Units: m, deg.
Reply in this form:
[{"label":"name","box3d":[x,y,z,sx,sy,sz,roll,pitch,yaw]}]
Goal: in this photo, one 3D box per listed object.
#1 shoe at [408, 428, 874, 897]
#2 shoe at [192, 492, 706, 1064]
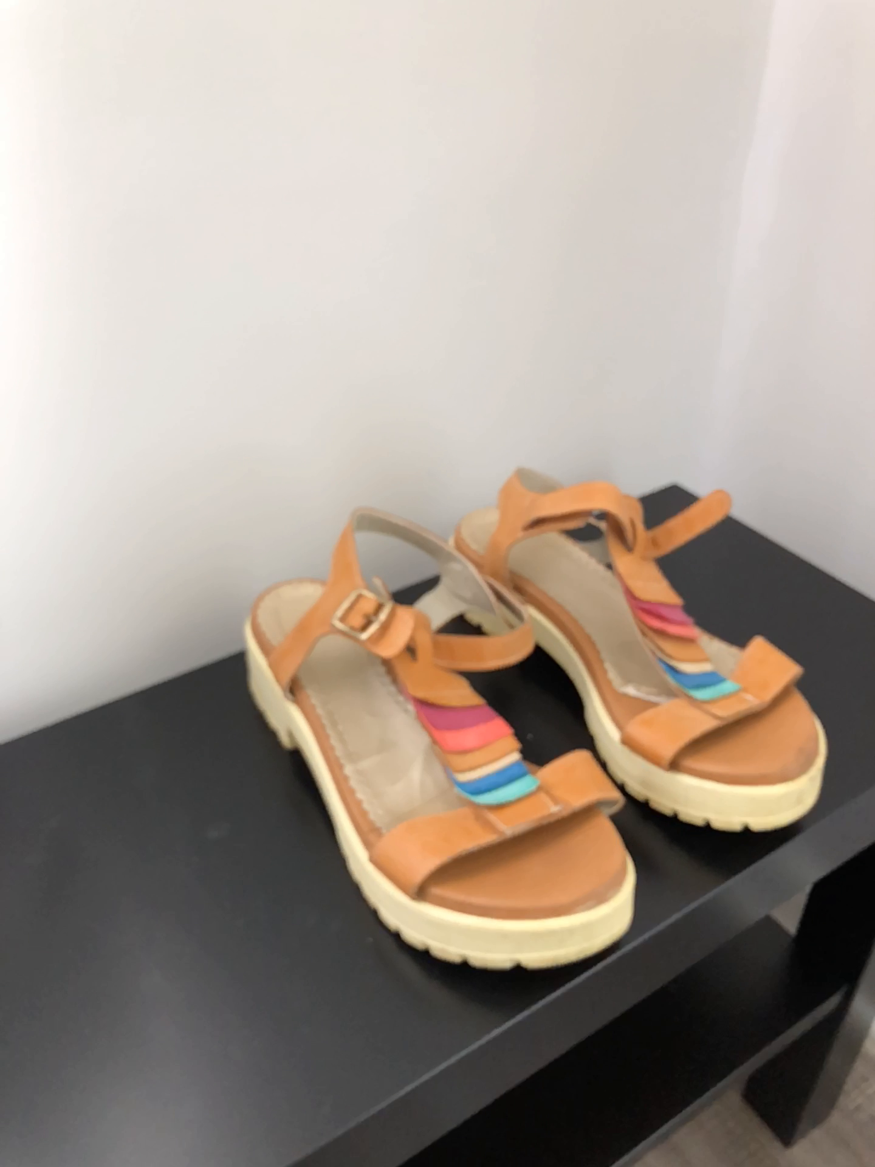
[{"label":"shoe","box3d":[0.092,0.018,0.481,0.100,0.077,0.248,-20,40,-25]},{"label":"shoe","box3d":[-0.012,0.062,0.436,0.100,0.083,0.248,-20,40,-25]}]
